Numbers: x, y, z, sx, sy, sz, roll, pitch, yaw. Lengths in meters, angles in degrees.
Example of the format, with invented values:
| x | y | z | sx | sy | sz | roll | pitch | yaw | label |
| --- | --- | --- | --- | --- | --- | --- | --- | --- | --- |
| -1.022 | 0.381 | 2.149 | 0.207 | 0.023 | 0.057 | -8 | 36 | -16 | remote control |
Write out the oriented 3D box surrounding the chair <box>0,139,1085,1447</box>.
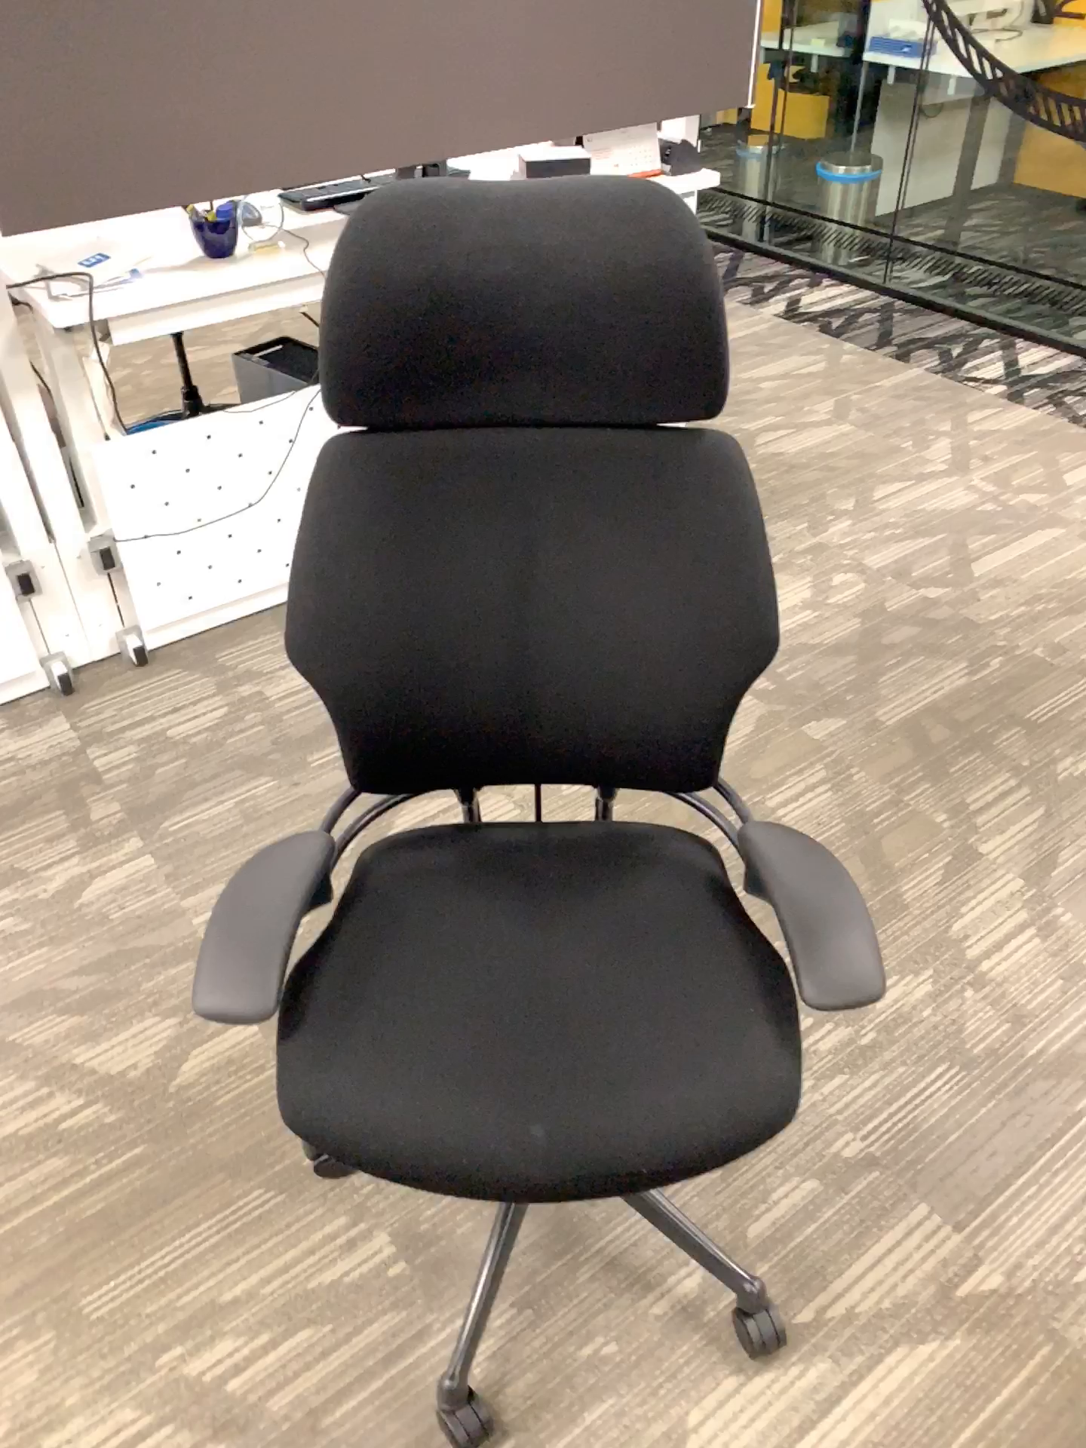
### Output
| x | y | z | sx | sy | sz | roll | pitch | yaw | label |
| --- | --- | --- | --- | --- | --- | --- | --- | --- | --- |
| -0.003 | 0.101 | 1.116 | 0.690 | 1.090 | 0.777 | -1 | 38 | 0 | chair |
